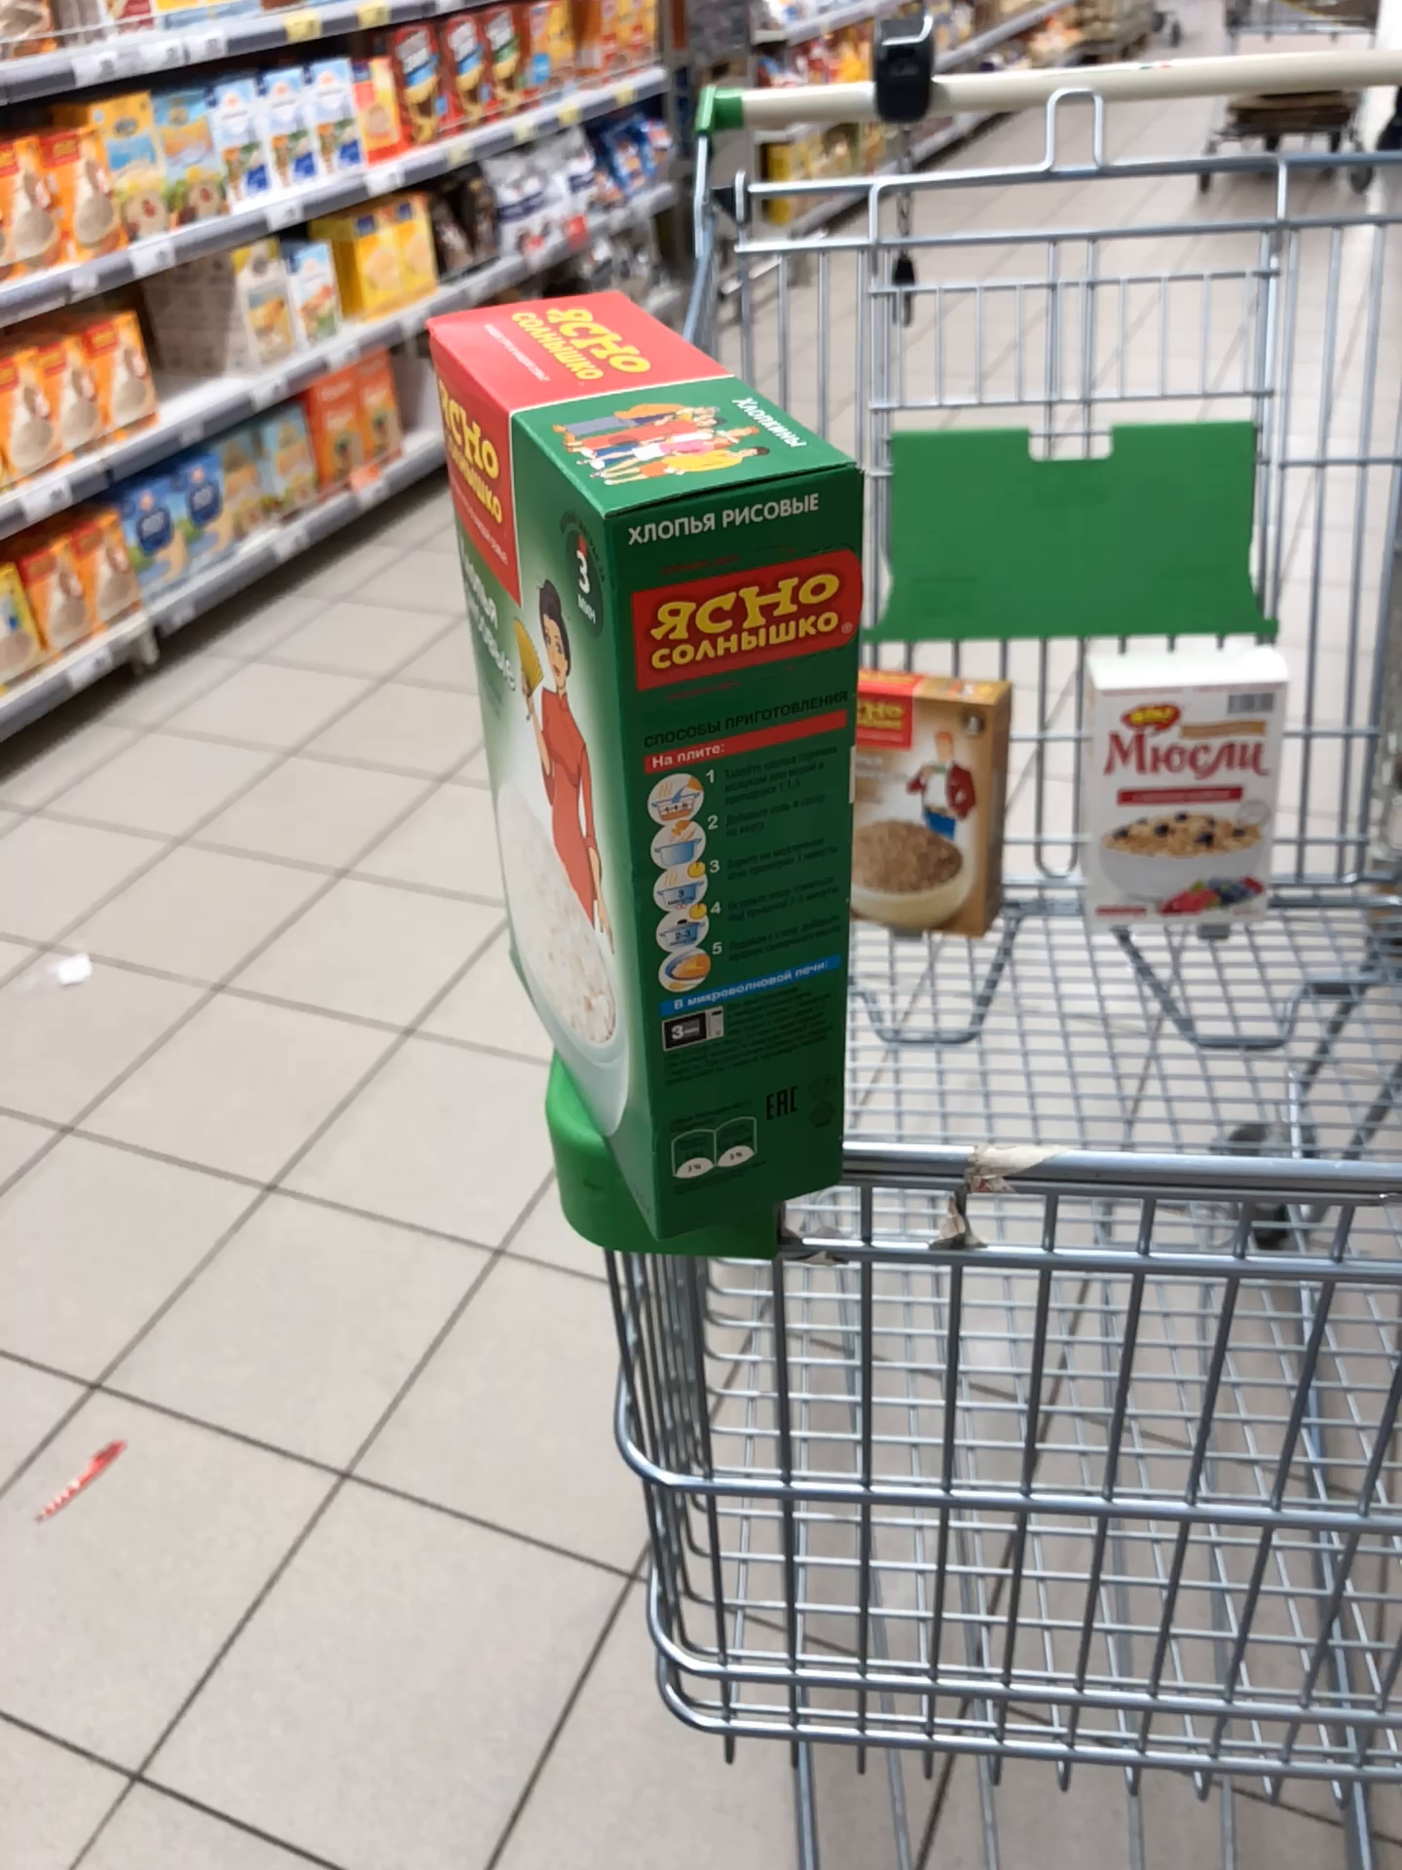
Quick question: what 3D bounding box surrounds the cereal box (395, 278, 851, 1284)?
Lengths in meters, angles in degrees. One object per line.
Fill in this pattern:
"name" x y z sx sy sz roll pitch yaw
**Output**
"cereal box" -0.018 -0.038 0.372 0.050 0.189 0.141 -15 38 -15
